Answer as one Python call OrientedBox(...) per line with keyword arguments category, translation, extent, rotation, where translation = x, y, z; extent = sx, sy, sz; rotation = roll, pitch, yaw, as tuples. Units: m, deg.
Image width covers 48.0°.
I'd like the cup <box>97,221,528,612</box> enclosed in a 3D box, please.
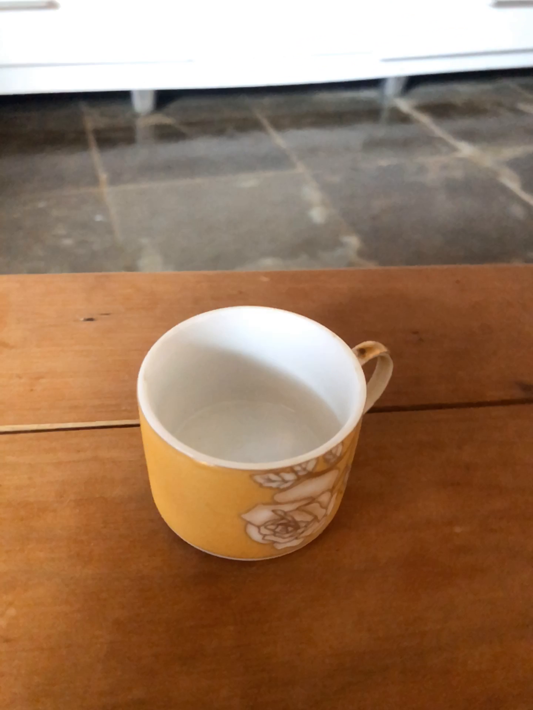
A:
OrientedBox(category="cup", translation=(0.011, 0.010, 0.175), extent=(0.090, 0.050, 0.070), rotation=(-24, 49, -27))
